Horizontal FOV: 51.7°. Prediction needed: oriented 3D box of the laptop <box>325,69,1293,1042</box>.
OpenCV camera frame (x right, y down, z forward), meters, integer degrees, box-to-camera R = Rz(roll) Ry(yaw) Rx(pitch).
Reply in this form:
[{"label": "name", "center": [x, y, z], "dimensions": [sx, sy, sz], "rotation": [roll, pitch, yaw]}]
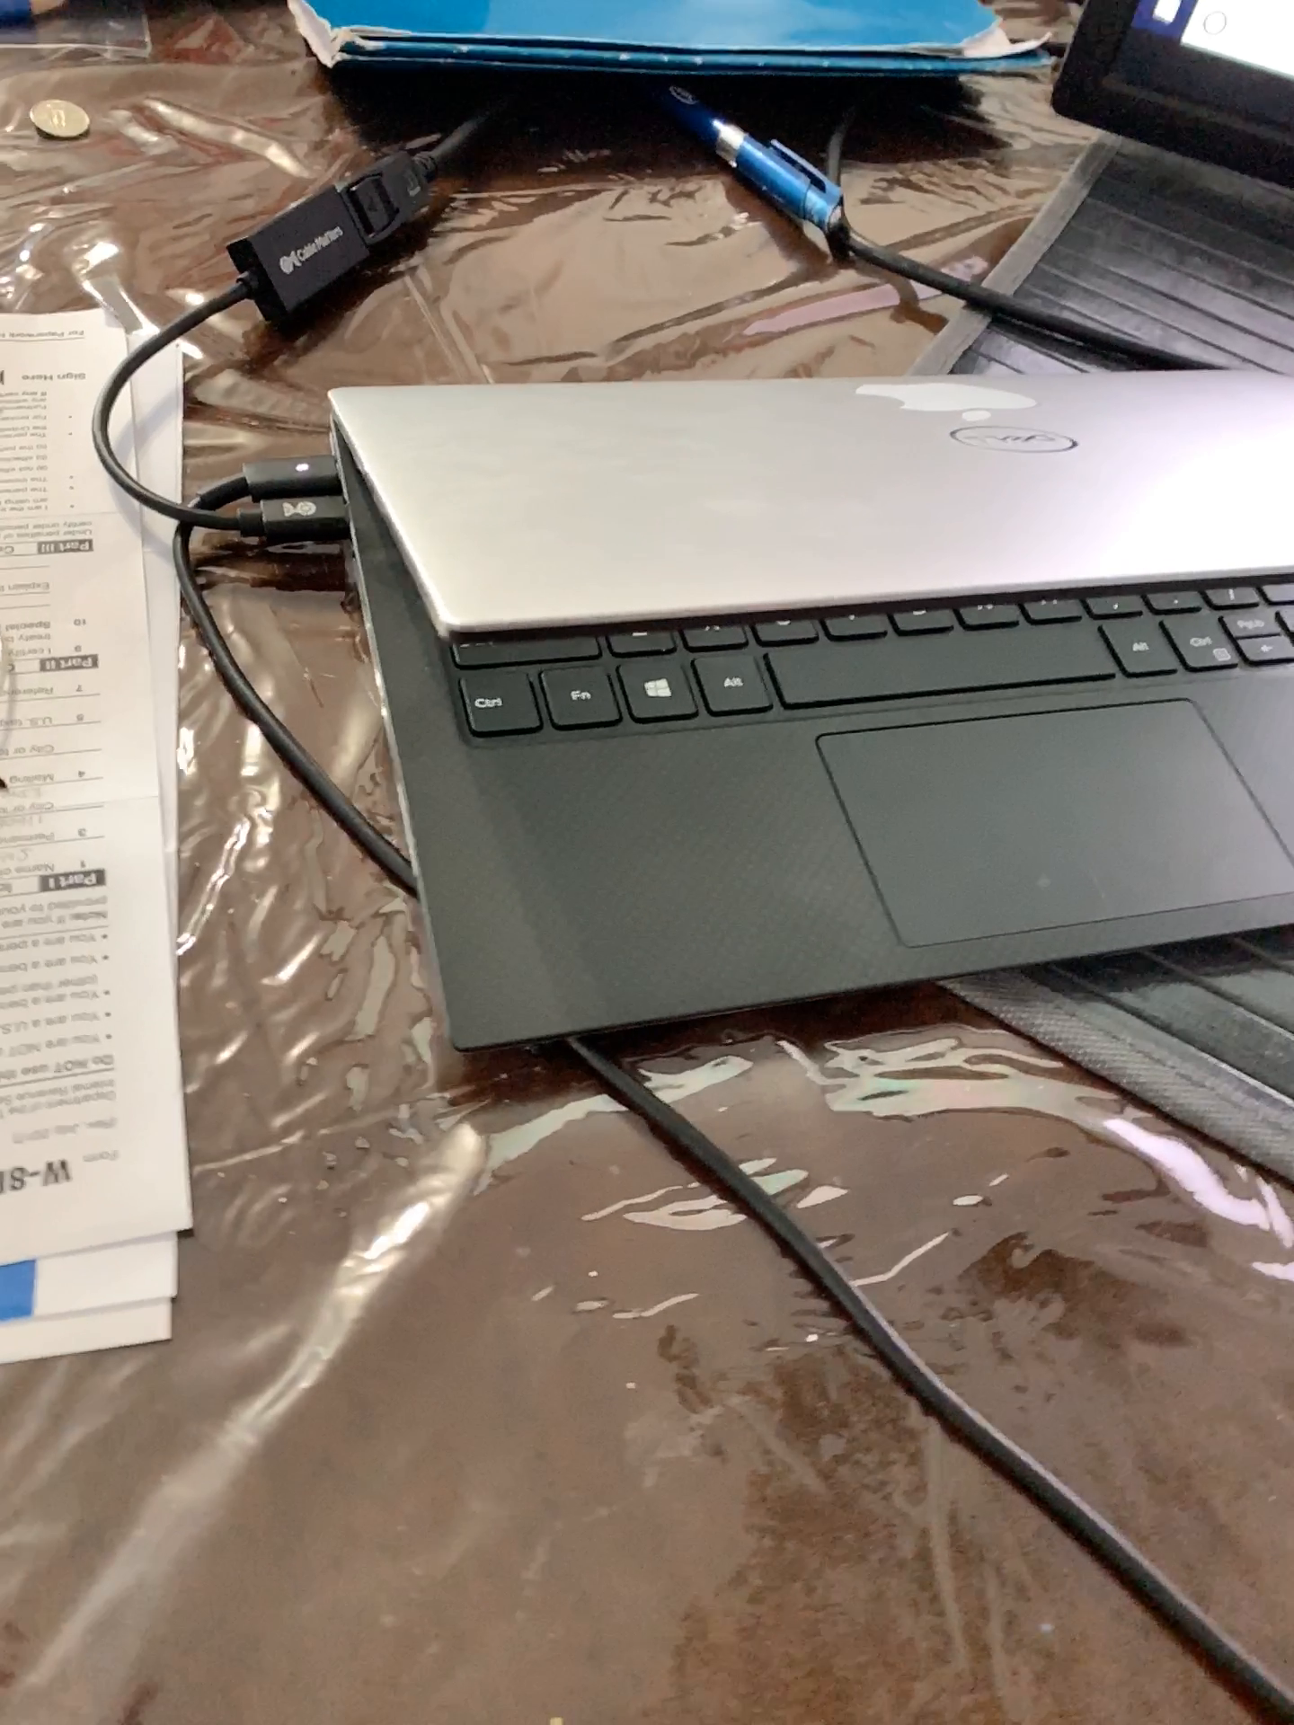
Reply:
[{"label": "laptop", "center": [0.088, -0.081, 0.300], "dimensions": [0.290, 0.085, 0.185], "rotation": [-6, 55, -16]}]
